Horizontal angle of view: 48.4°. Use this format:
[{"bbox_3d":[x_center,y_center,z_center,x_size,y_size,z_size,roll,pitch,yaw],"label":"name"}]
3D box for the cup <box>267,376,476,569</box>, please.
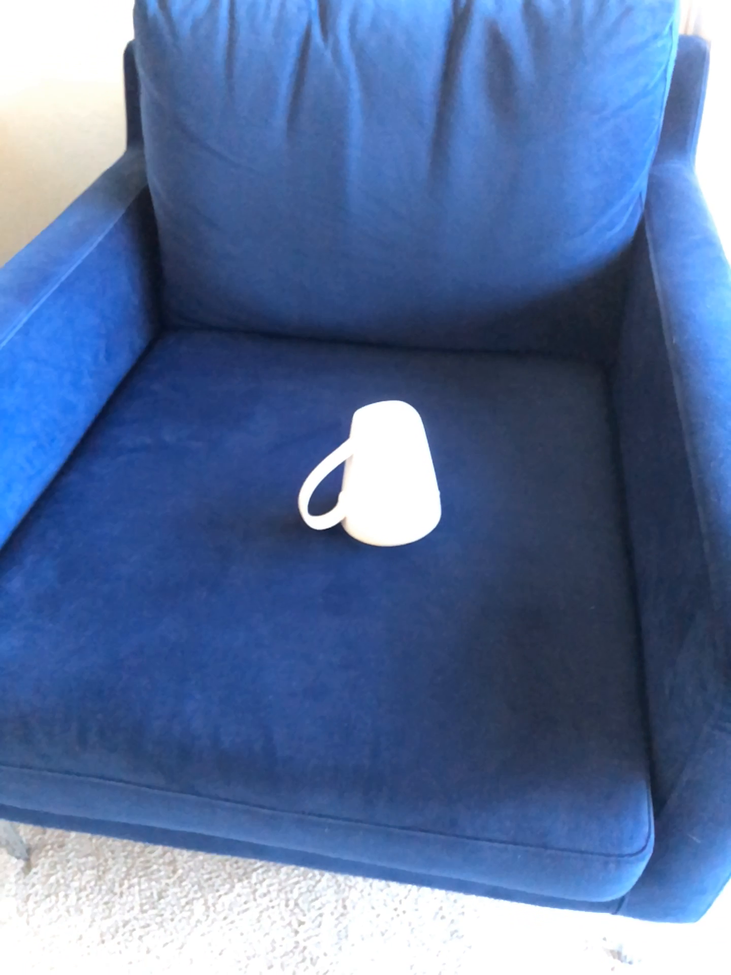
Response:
[{"bbox_3d":[0.004,-0.017,0.730,0.150,0.090,0.110,-17,43,-15],"label":"cup"}]
